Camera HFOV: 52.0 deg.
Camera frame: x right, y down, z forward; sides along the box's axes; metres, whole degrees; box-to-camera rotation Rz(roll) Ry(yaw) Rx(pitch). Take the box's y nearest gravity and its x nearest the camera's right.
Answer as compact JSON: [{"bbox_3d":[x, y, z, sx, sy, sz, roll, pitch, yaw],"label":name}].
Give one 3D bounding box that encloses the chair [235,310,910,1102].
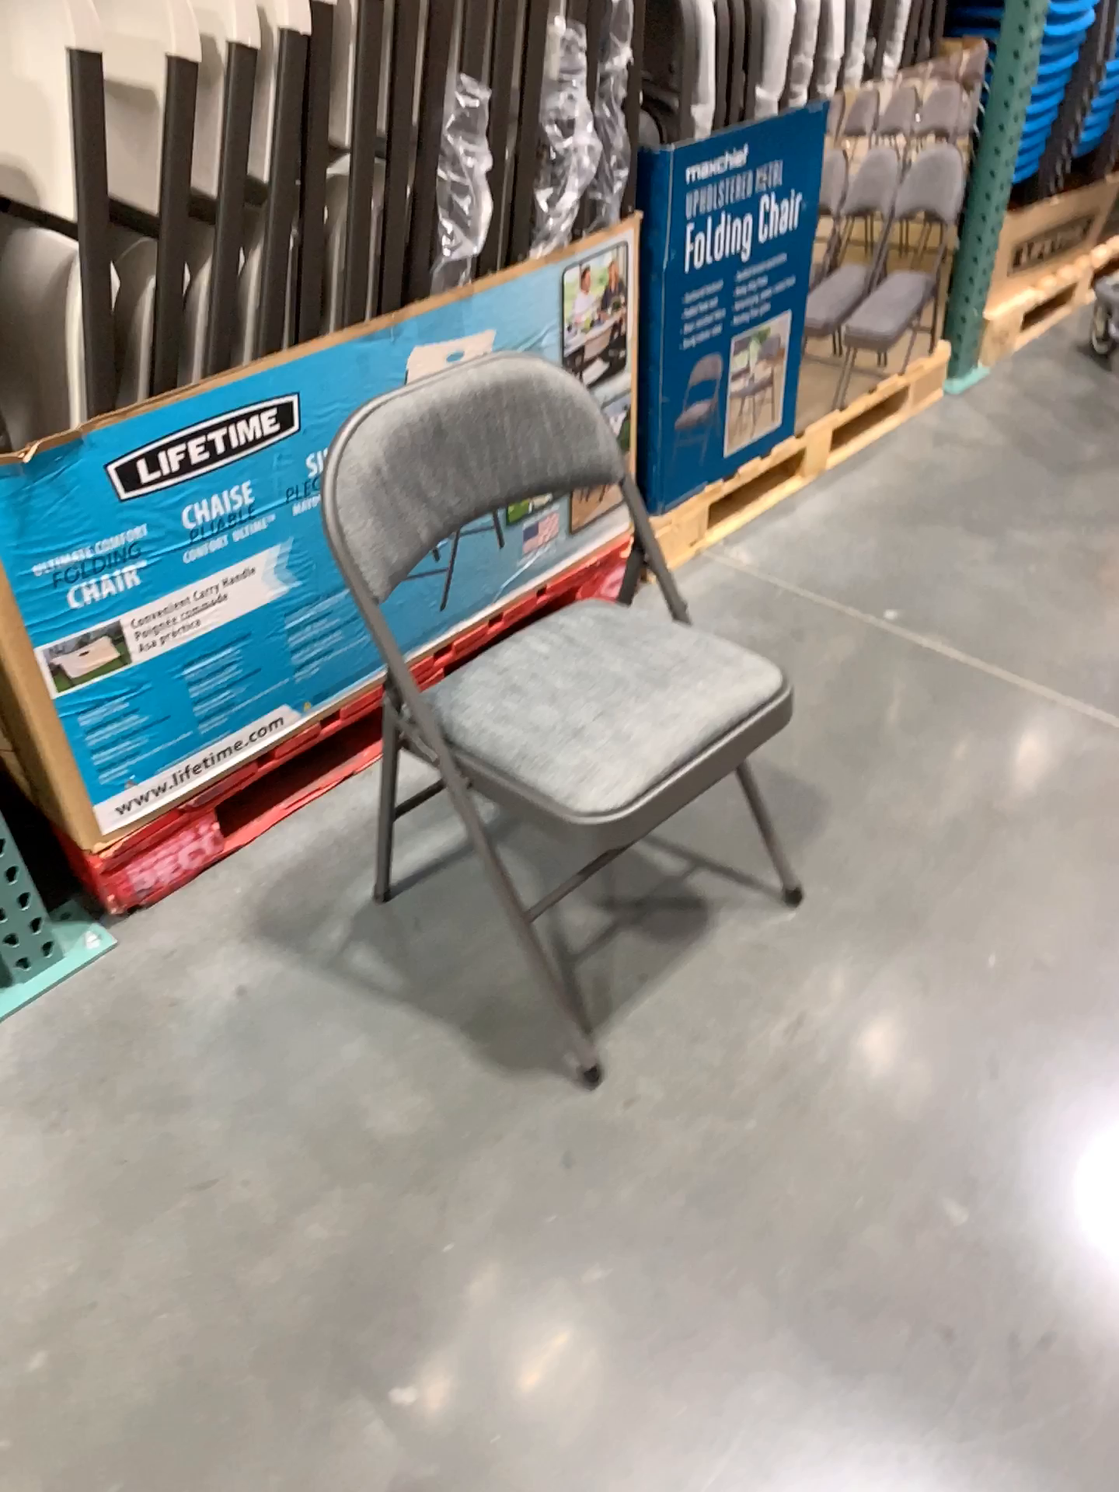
[{"bbox_3d":[0.019,-0.067,1.417,0.504,0.688,0.495,32,50,33],"label":"chair"}]
